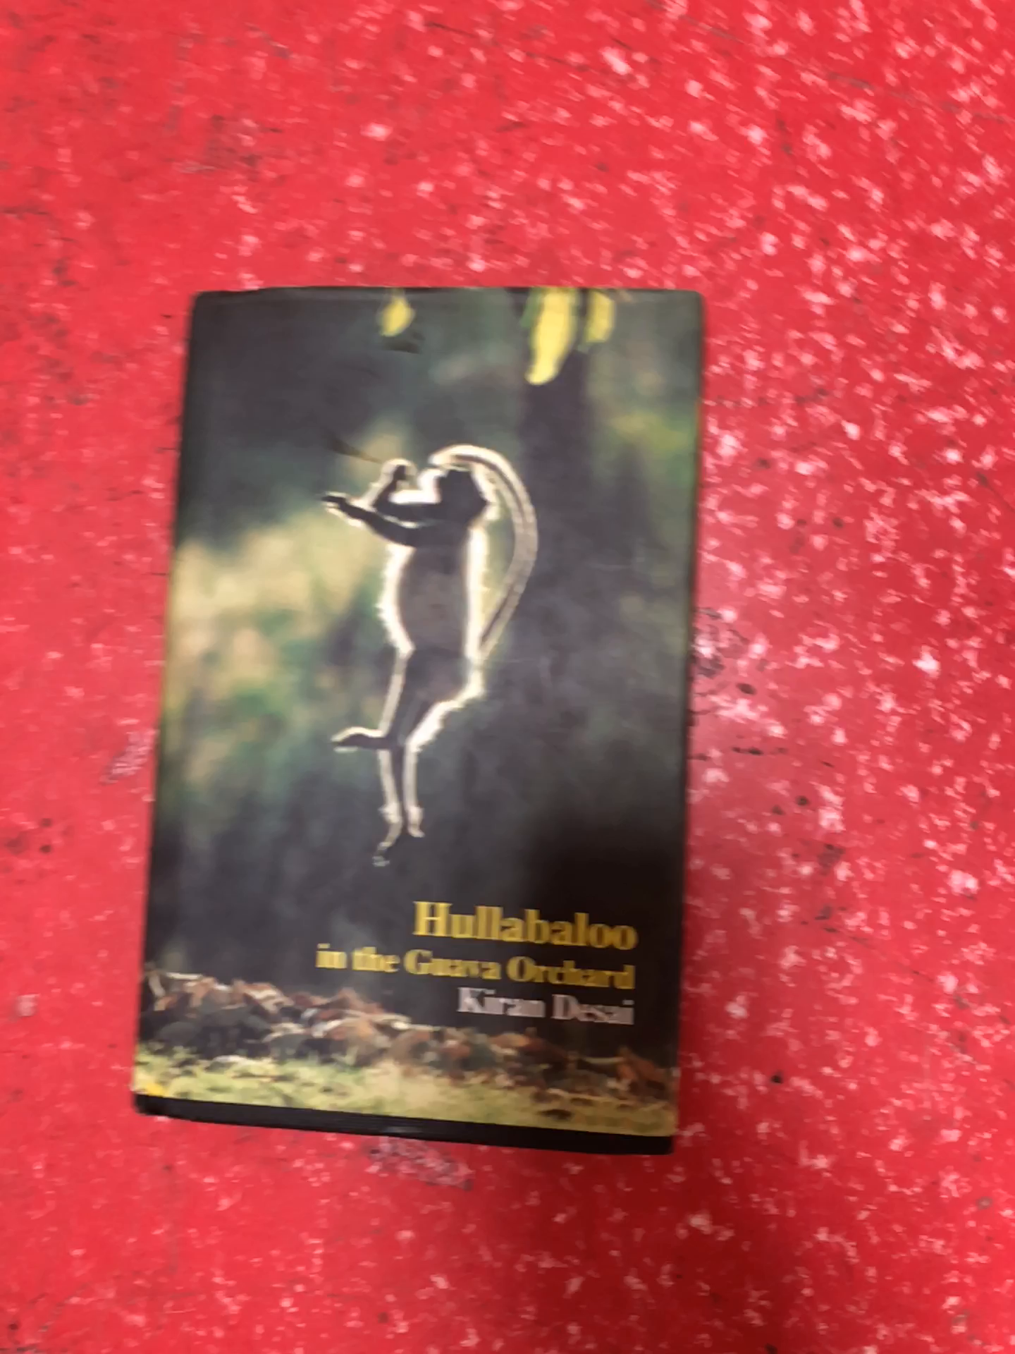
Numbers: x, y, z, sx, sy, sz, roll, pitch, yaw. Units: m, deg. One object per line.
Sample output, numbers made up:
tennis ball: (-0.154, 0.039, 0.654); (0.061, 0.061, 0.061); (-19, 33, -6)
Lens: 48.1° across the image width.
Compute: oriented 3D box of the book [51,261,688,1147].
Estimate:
book: (-0.035, 0.002, 0.317); (0.160, 0.030, 0.230); (2, 86, 6)
